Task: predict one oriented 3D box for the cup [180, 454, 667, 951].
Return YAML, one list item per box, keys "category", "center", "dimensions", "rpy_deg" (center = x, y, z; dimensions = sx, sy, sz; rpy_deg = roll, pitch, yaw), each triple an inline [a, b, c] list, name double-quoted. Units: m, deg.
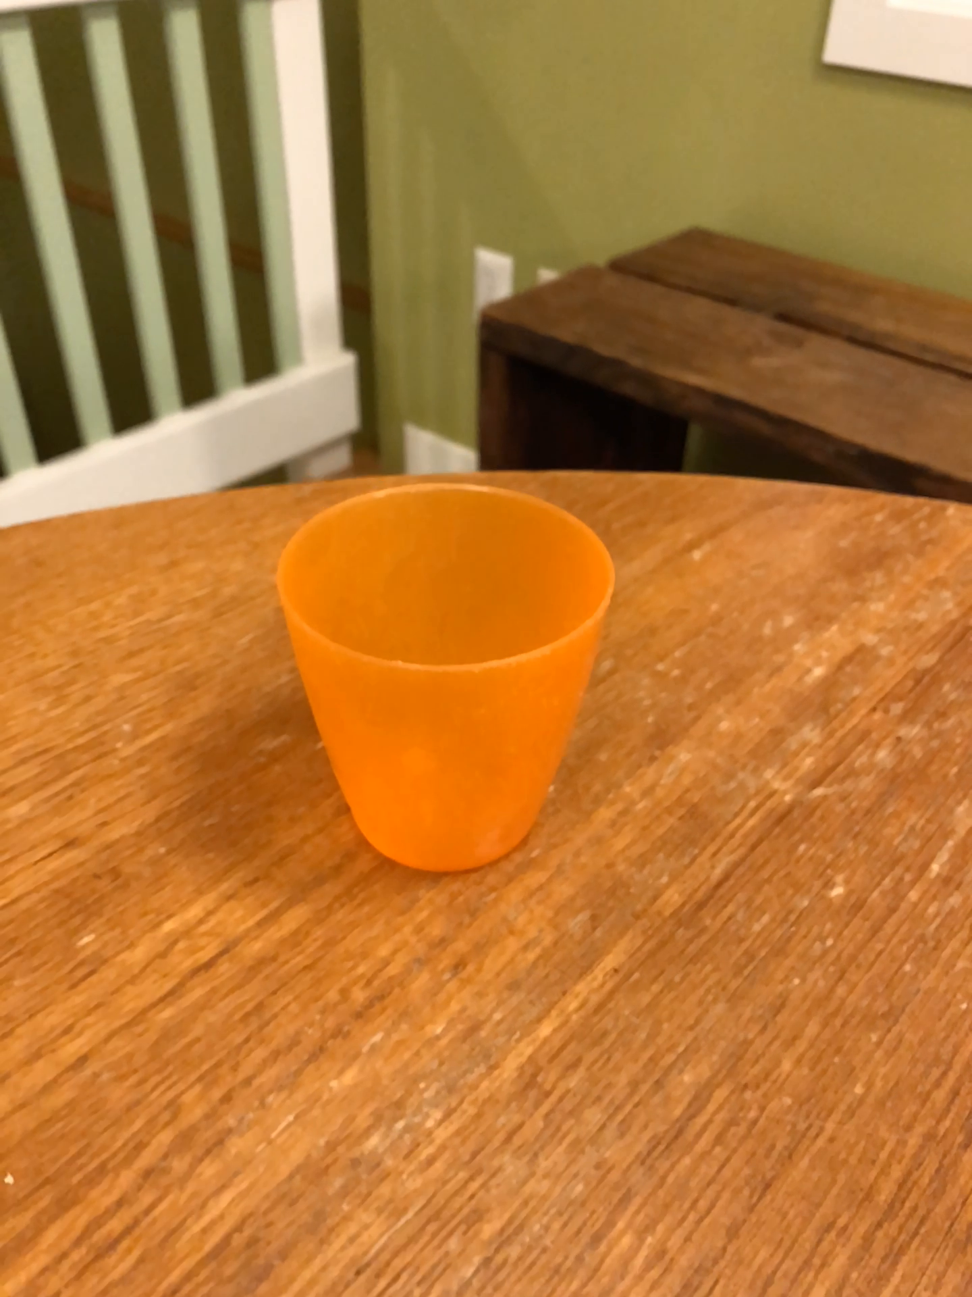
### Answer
- category: "cup"
  center: [-0.013, 0.008, 0.267]
  dimensions: [0.079, 0.066, 0.080]
  rpy_deg: [1, 37, -1]
